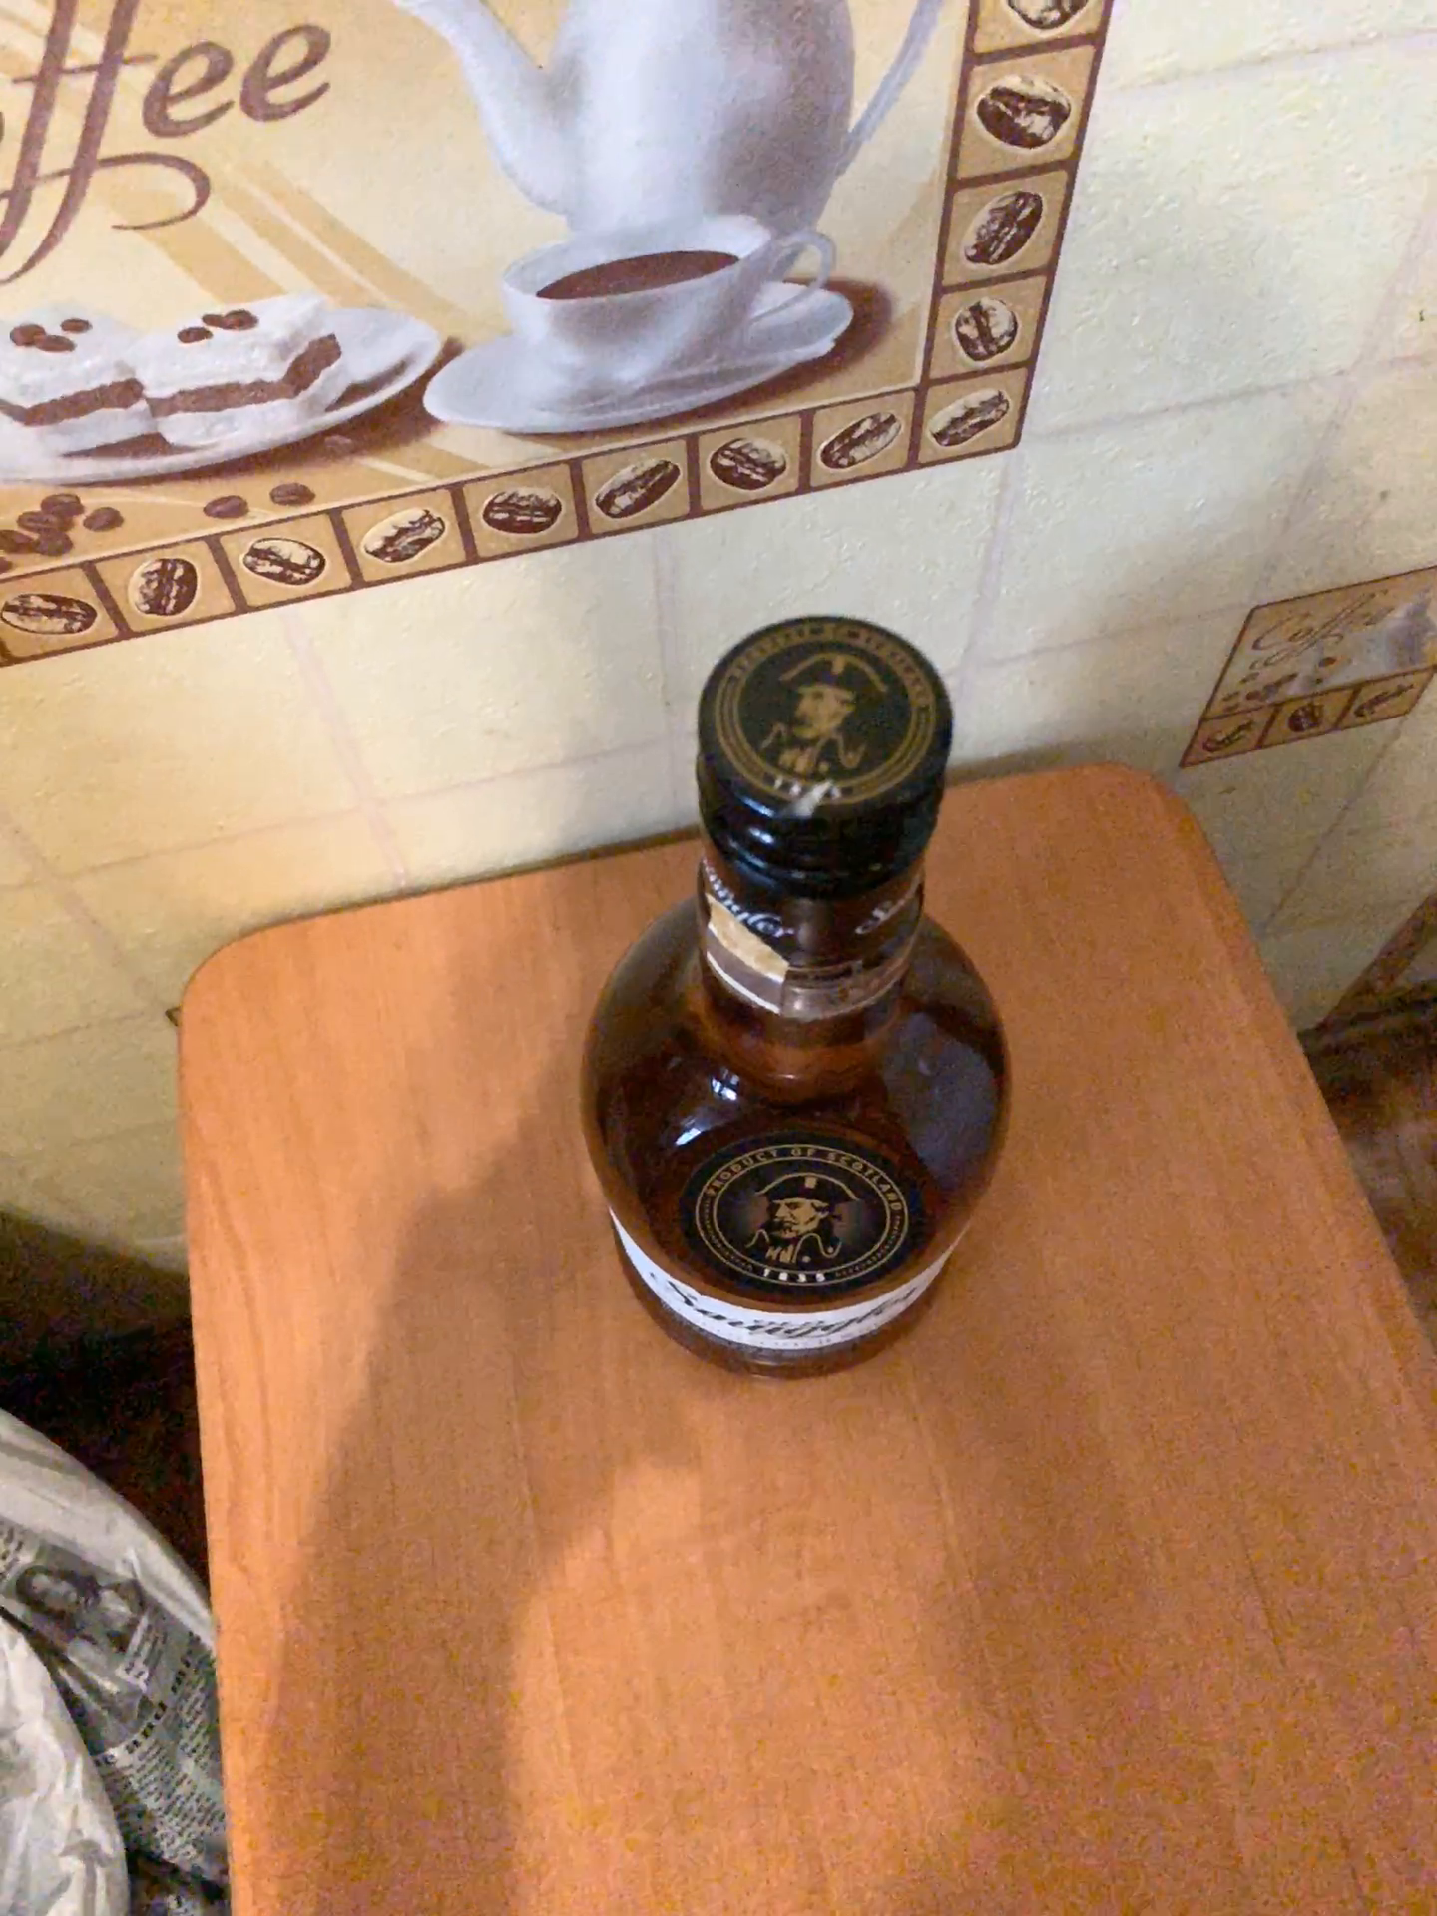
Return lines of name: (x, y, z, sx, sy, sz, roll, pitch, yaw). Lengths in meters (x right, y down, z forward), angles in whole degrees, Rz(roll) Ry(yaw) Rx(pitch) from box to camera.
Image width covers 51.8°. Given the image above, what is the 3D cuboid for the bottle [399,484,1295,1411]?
bottle: (0.017, 0.024, 0.286, 0.100, 0.230, 0.080, 1, 63, 1)
